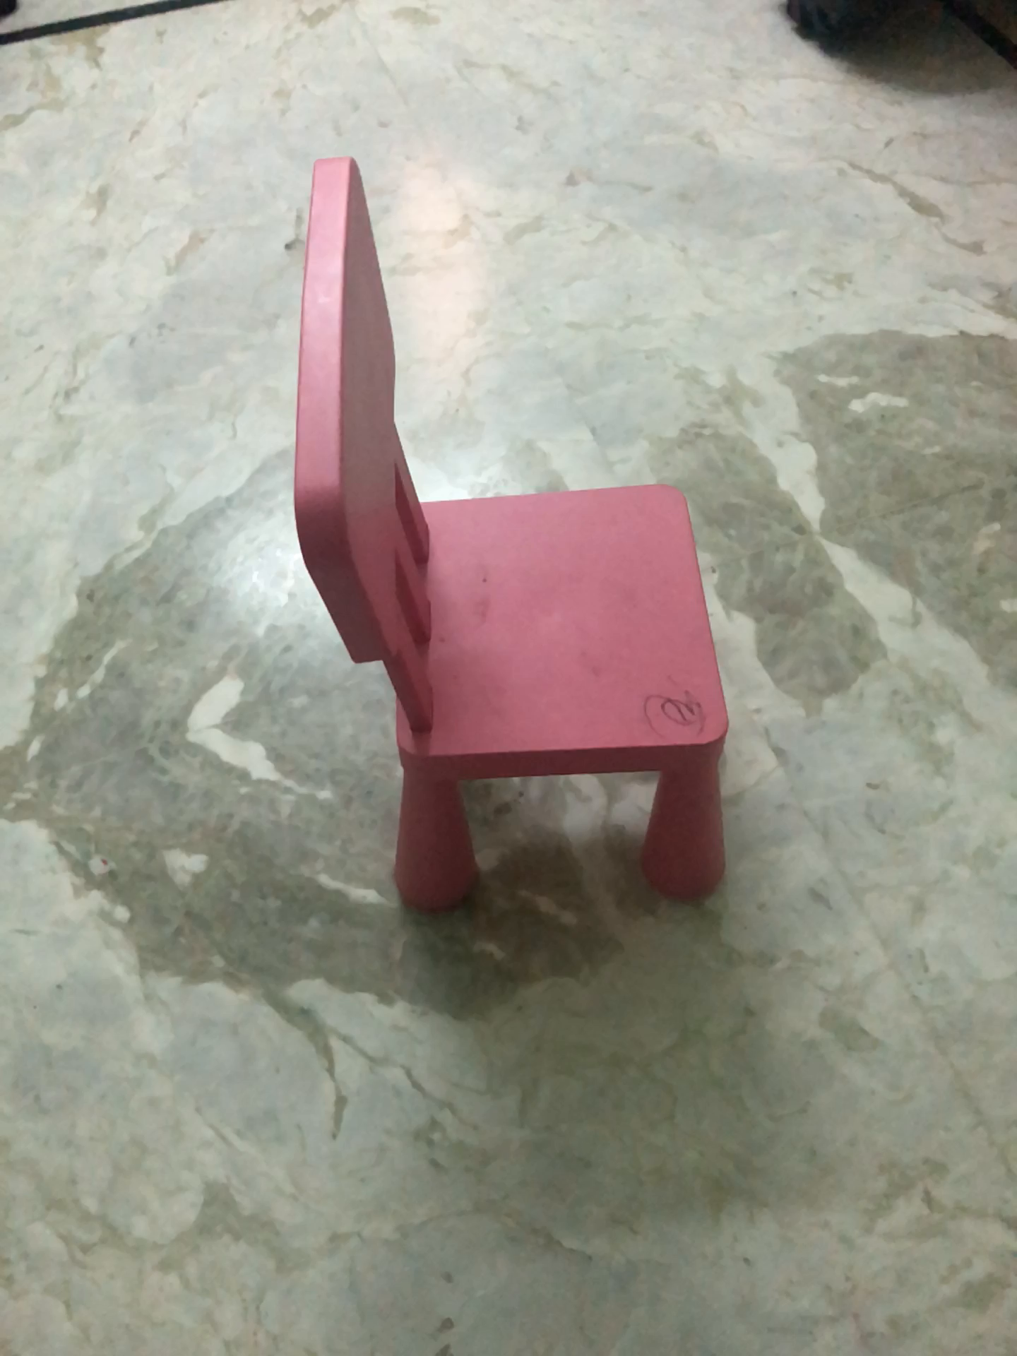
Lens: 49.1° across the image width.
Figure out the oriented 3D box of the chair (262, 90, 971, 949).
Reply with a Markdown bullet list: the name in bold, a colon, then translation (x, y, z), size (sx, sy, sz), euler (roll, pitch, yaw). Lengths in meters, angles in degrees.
- **chair**: translation (0.049, -0.080, 0.966), size (0.380, 0.627, 0.402), euler (-4, 57, -2)
